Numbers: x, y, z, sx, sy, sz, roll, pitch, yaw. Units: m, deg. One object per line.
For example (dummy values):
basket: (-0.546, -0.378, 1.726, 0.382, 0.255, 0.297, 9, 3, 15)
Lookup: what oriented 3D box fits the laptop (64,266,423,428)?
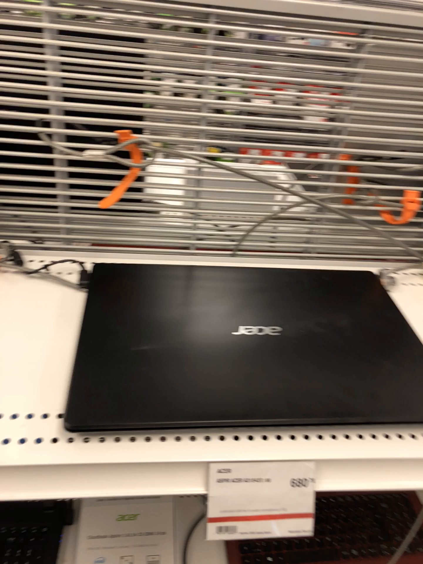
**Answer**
laptop: (0.045, 0.054, 0.496, 0.354, 0.006, 0.232, 2, 35, -9)
